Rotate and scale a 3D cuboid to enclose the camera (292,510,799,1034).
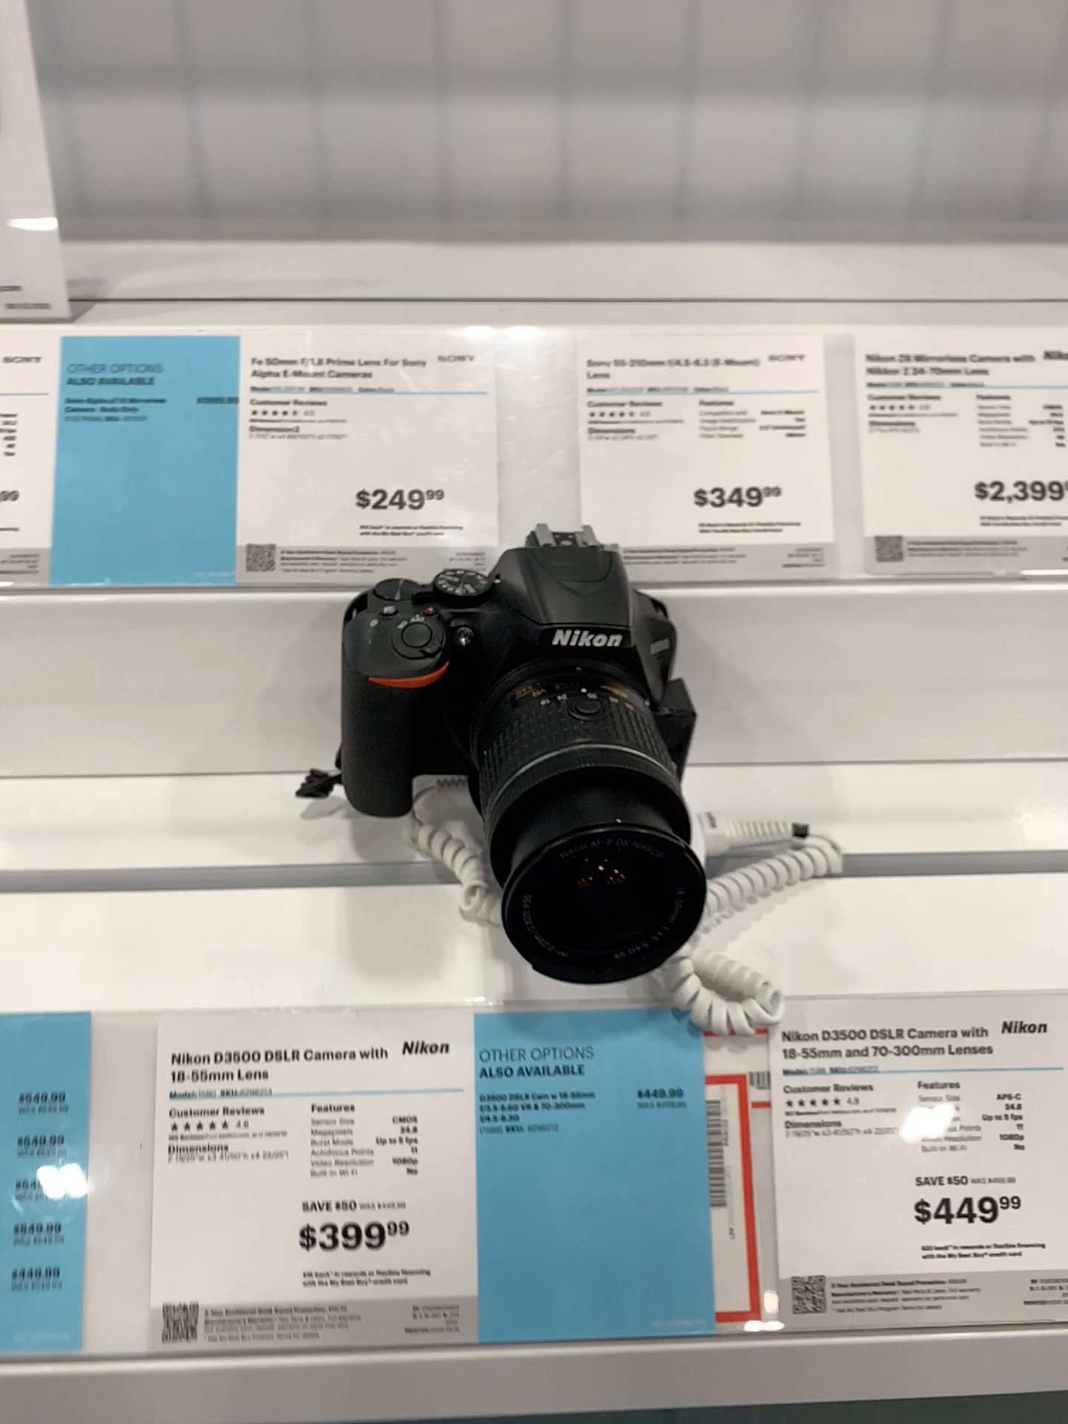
[{"bbox_3d":[-0.005,0.009,0.371,0.130,0.099,0.151,-3,31,-6],"label":"camera"}]
